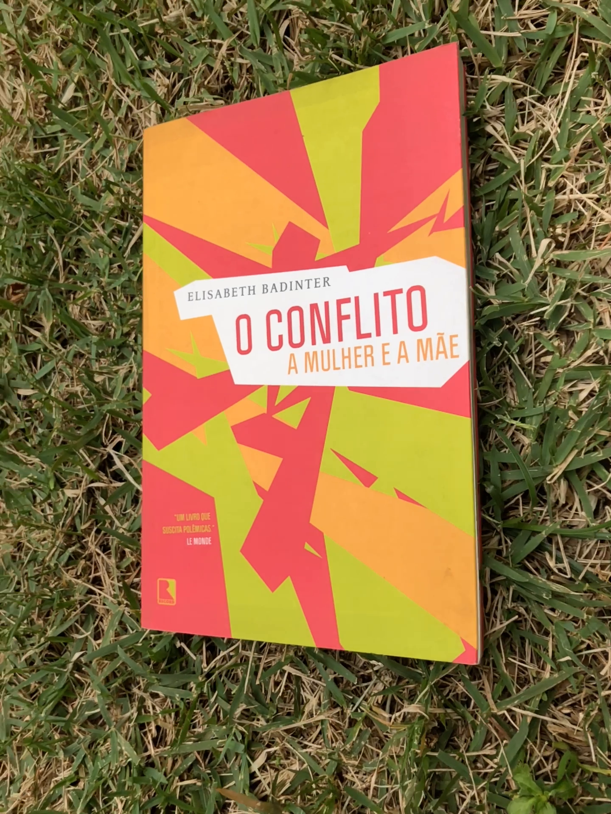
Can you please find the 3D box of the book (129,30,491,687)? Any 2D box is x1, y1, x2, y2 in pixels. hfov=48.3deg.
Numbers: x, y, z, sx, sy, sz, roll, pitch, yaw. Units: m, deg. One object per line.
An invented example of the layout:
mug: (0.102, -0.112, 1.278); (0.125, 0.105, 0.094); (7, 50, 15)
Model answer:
book: (-0.005, -0.015, 0.244); (0.130, 0.020, 0.200); (-3, 85, 27)
